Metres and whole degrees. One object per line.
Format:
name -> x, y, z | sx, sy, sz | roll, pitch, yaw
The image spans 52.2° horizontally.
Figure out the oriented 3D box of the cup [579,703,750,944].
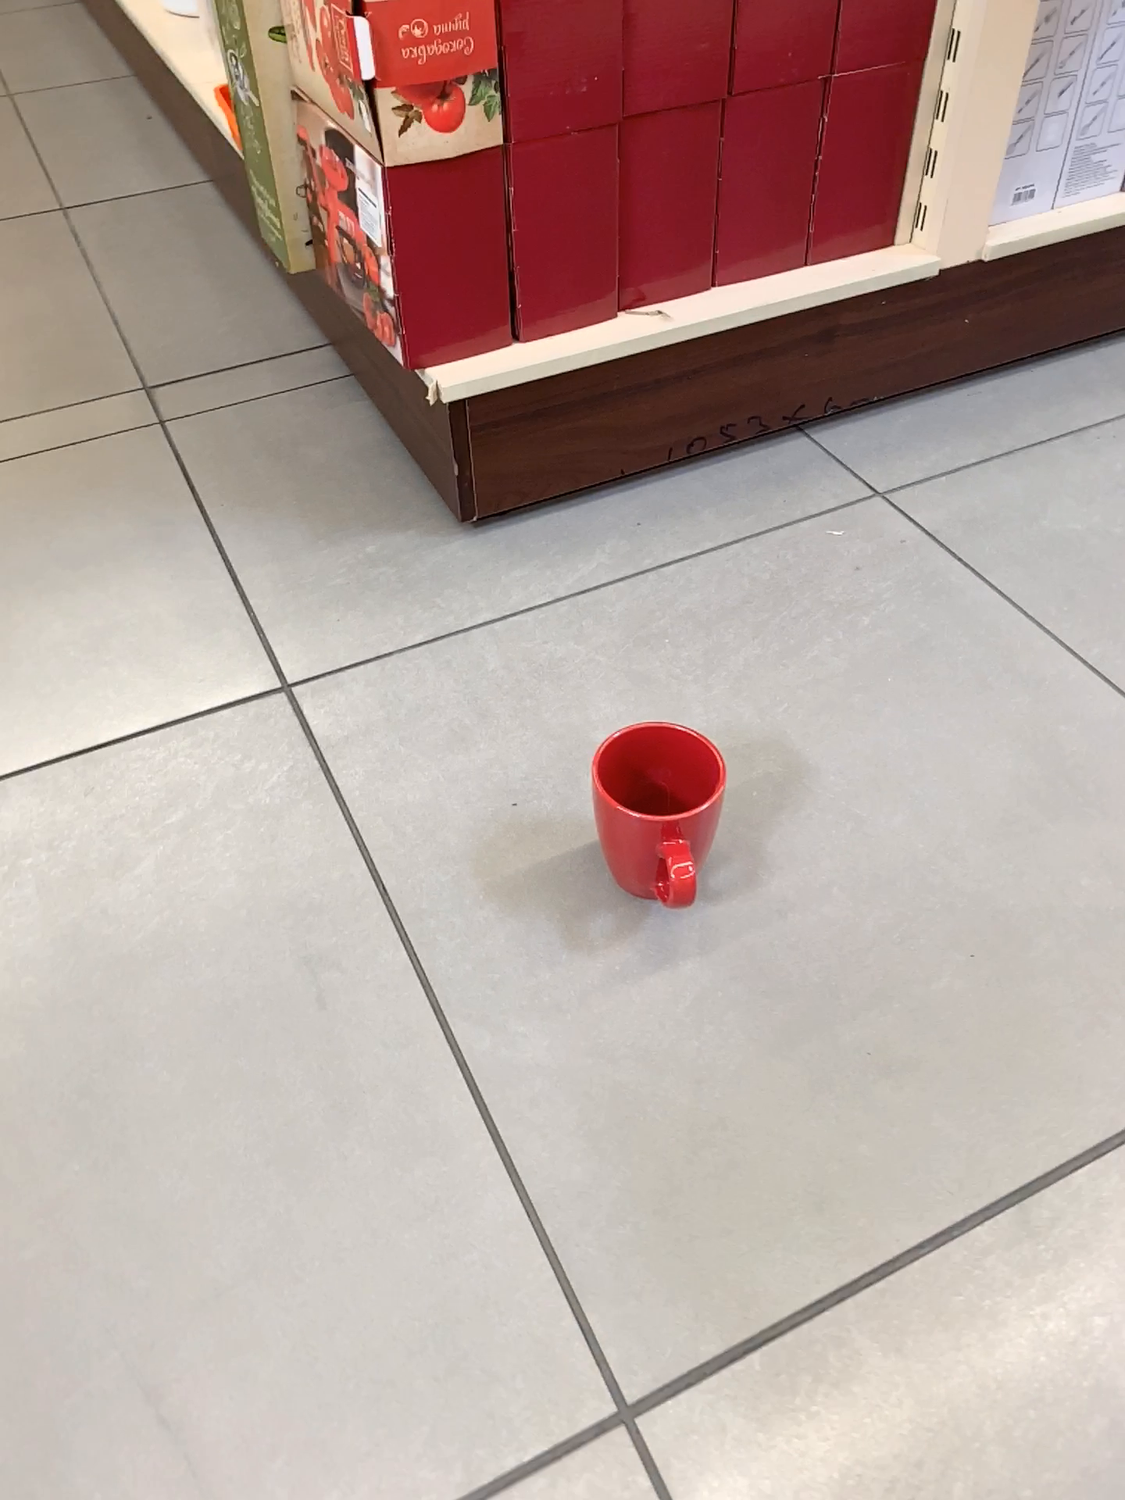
cup -> 0.062, 0.047, 0.749 | 0.090, 0.090, 0.121 | -5, 45, -2
